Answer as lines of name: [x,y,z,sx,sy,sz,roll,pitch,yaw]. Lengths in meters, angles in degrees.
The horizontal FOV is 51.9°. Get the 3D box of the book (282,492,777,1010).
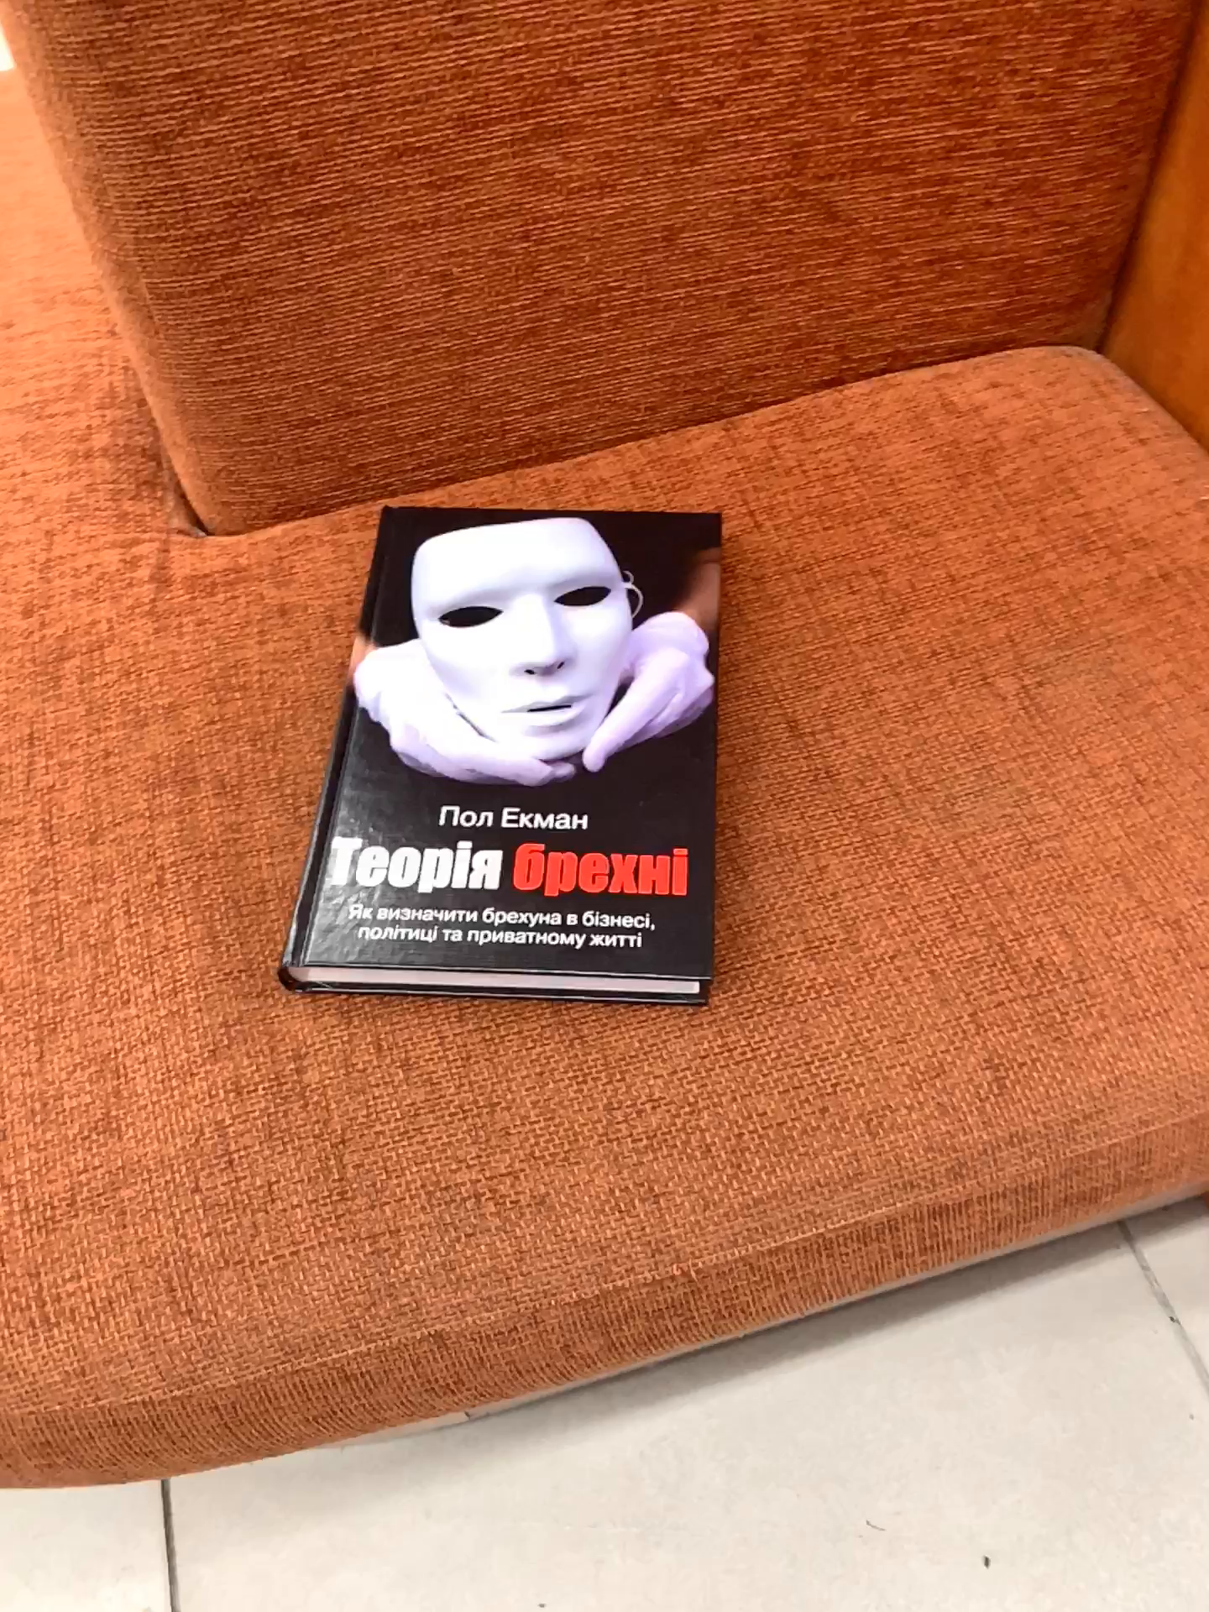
book: [-0.016,-0.031,0.446,0.150,0.030,0.209,1,54,5]
